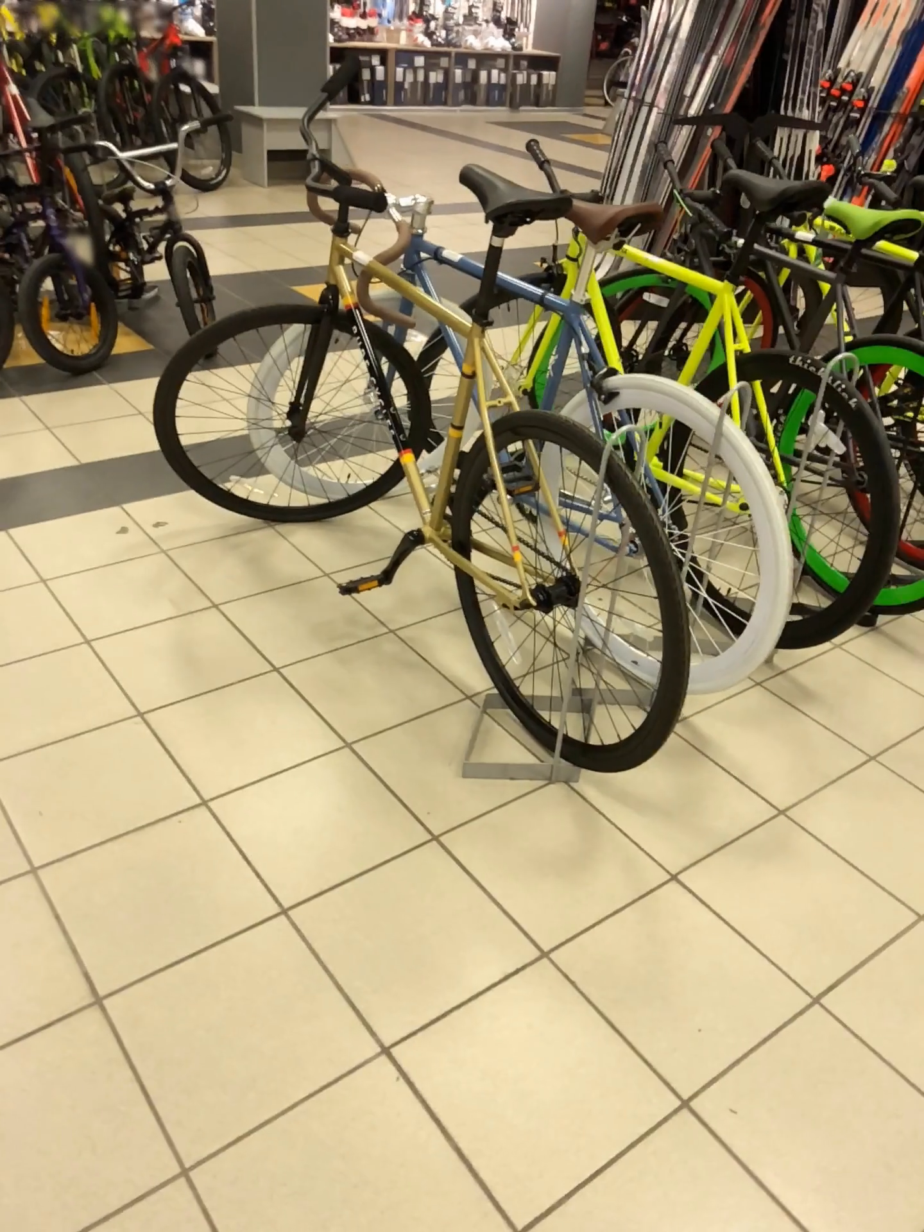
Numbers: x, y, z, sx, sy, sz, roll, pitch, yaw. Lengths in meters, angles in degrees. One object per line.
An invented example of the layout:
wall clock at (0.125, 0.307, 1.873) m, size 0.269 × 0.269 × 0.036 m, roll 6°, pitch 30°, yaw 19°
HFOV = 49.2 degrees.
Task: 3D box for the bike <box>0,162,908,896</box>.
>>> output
bike at (-0.195, -0.308, 2.018) m, size 1.465 × 1.091 × 0.674 m, roll 25°, pitch 36°, yaw 38°
